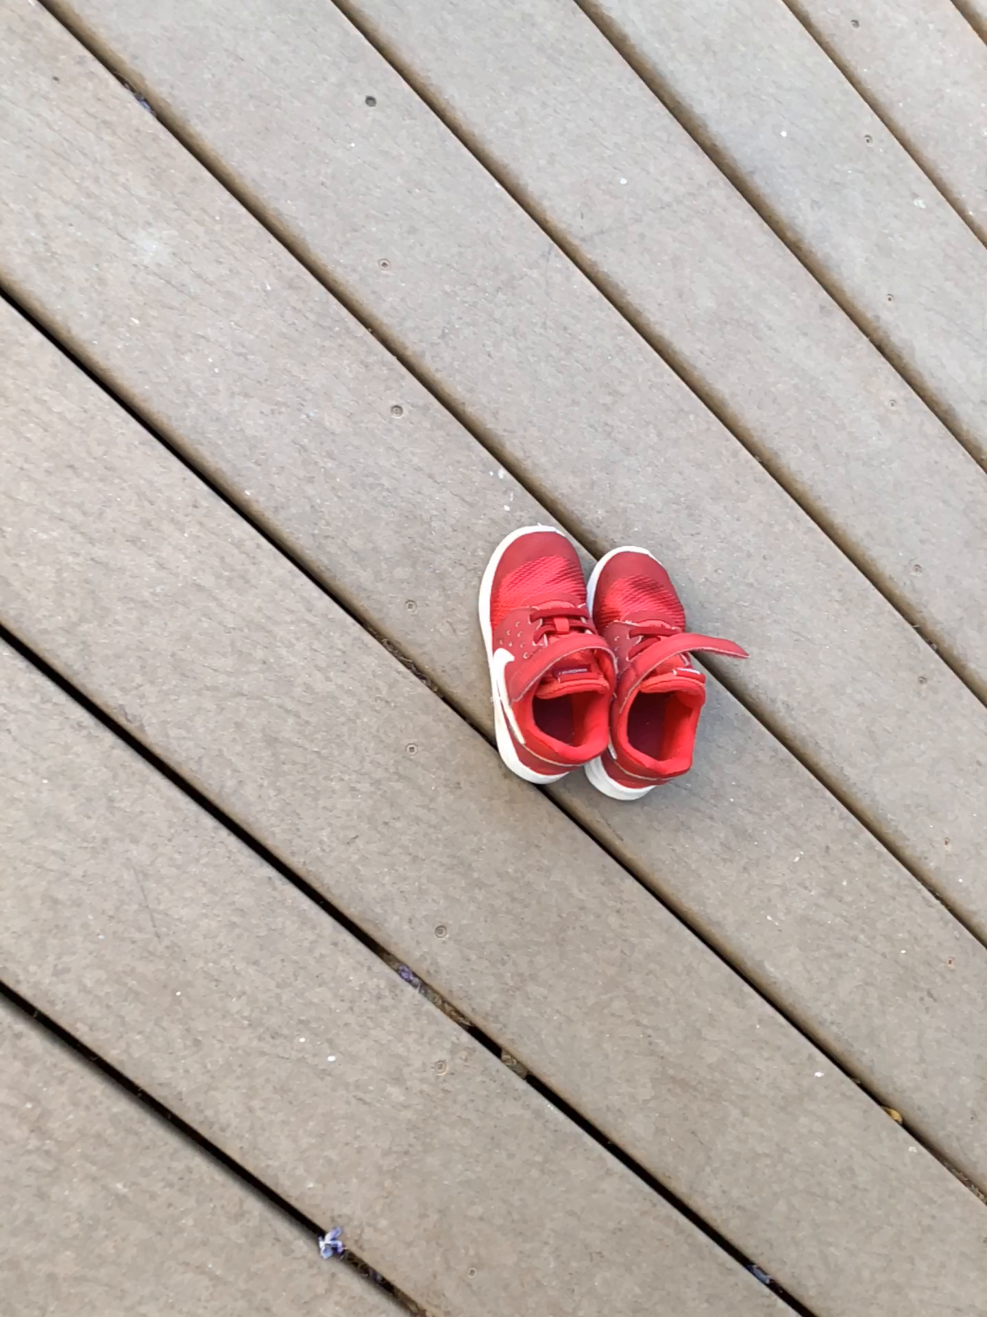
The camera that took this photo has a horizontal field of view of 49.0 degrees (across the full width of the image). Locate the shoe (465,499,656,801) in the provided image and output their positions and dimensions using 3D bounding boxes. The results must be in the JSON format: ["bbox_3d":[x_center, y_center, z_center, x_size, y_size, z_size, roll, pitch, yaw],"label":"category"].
[{"bbox_3d":[0.037,-0.002,0.651,0.077,0.087,0.167,-1,85,-21],"label":"shoe"}]

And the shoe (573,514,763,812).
[{"bbox_3d":[0.106,0.007,0.668,0.077,0.087,0.167,5,83,-20],"label":"shoe"}]
